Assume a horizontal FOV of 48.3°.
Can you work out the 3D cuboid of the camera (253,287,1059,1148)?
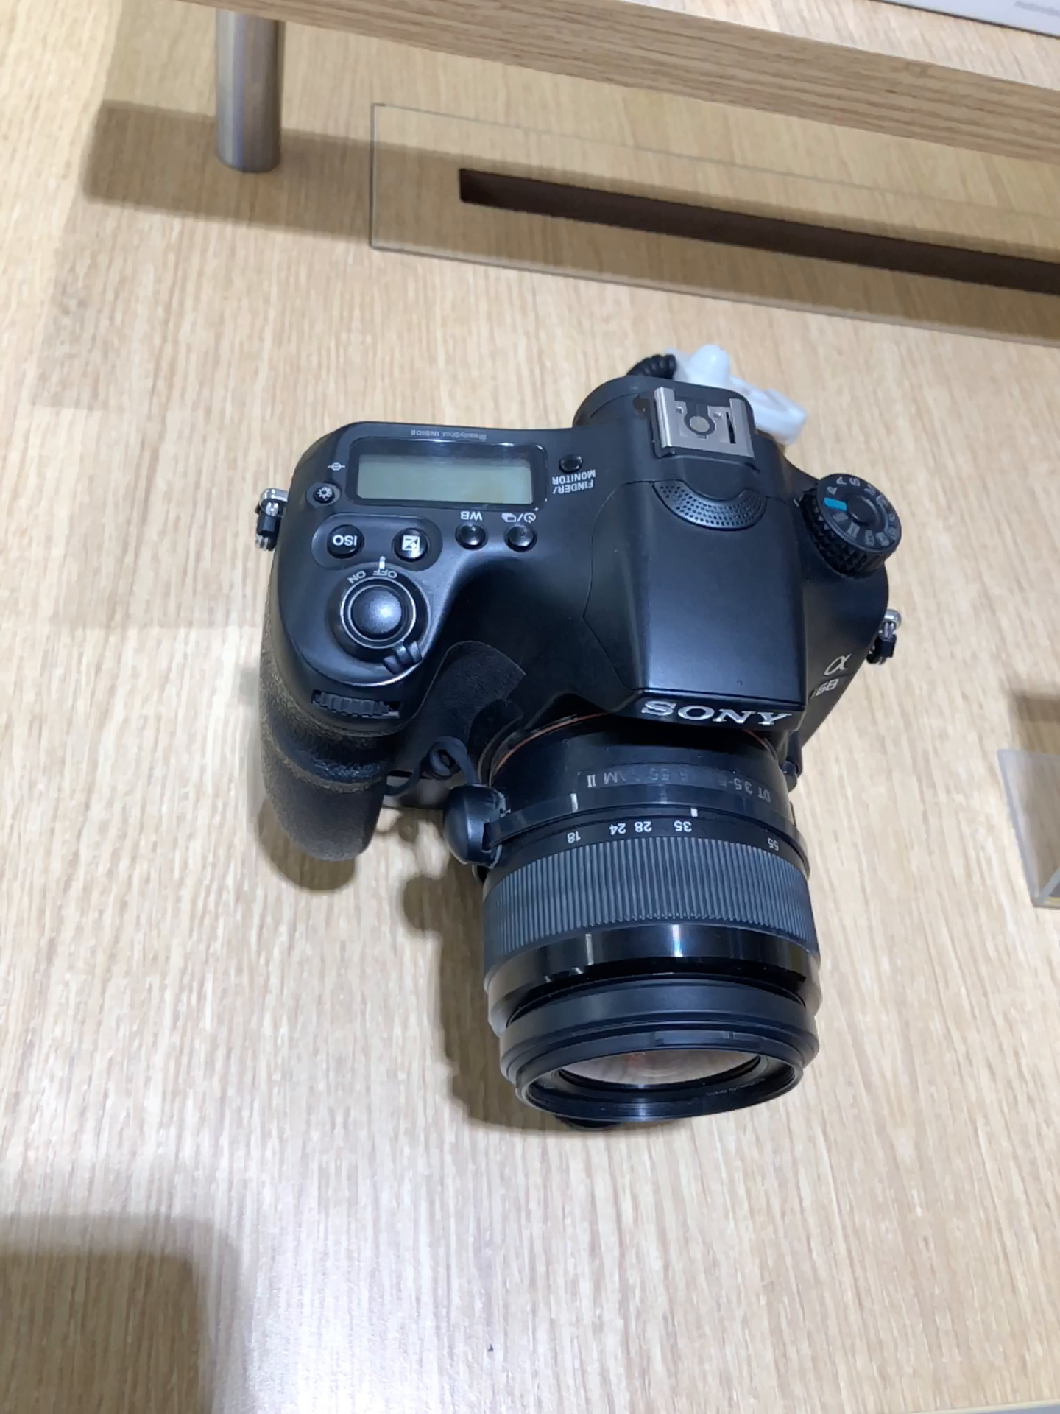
[{"bbox_3d":[0.024,0.005,0.224,0.140,0.080,0.131,4,57,-12],"label":"camera"}]
